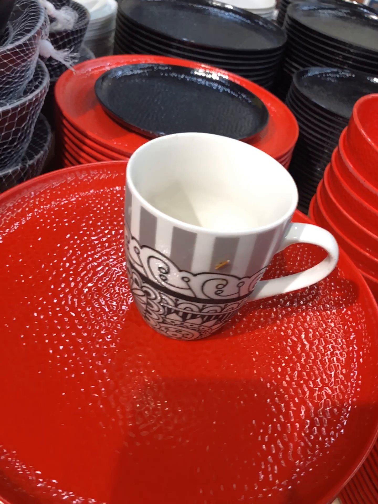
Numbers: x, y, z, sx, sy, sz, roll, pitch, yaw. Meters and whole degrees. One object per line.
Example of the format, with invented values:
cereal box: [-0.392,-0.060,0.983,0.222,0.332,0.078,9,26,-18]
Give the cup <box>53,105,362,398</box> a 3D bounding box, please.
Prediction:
cup: [0.006,0.000,0.222,0.120,0.099,0.081,15,41,2]
